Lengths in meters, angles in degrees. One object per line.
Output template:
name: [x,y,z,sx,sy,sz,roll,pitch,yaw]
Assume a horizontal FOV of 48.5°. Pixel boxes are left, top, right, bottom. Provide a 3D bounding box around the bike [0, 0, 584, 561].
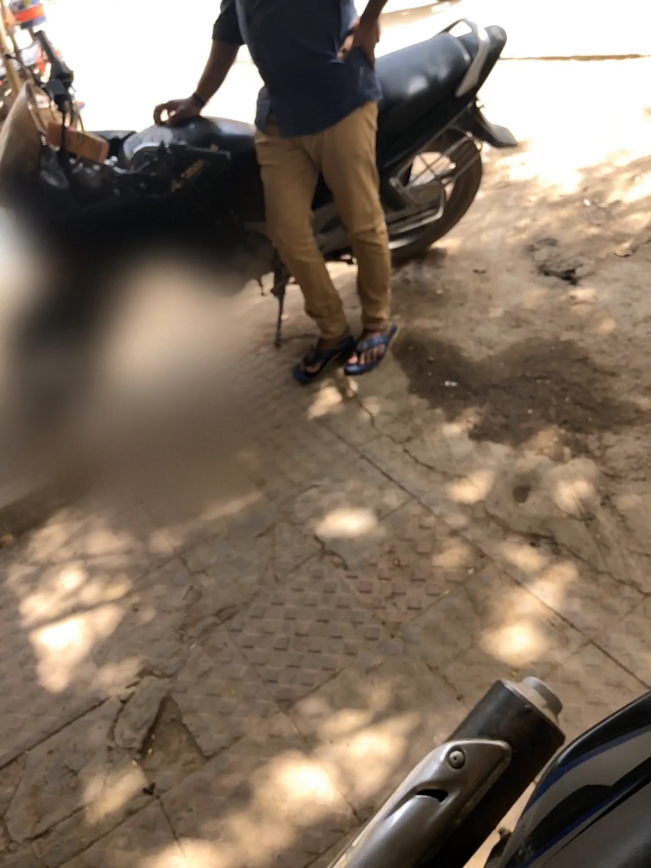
bike: [-0.228,-0.693,2.186,1.893,1.178,0.800,-25,39,-12]
